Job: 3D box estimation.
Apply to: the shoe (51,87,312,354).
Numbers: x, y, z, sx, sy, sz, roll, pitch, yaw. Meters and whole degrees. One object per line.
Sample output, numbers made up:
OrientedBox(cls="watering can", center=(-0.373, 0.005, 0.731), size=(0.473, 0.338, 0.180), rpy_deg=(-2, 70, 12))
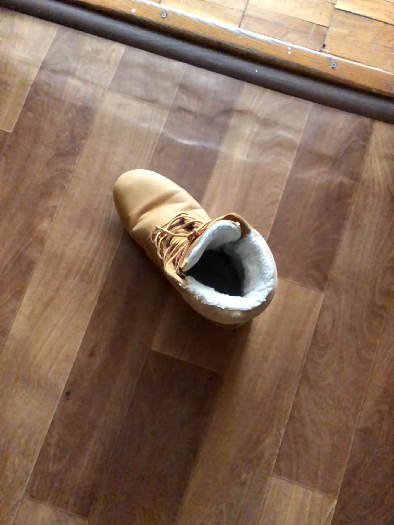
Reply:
OrientedBox(cls="shoe", center=(-0.020, -0.038, 0.558), size=(0.120, 0.180, 0.290), rpy_deg=(-41, 83, -6))
